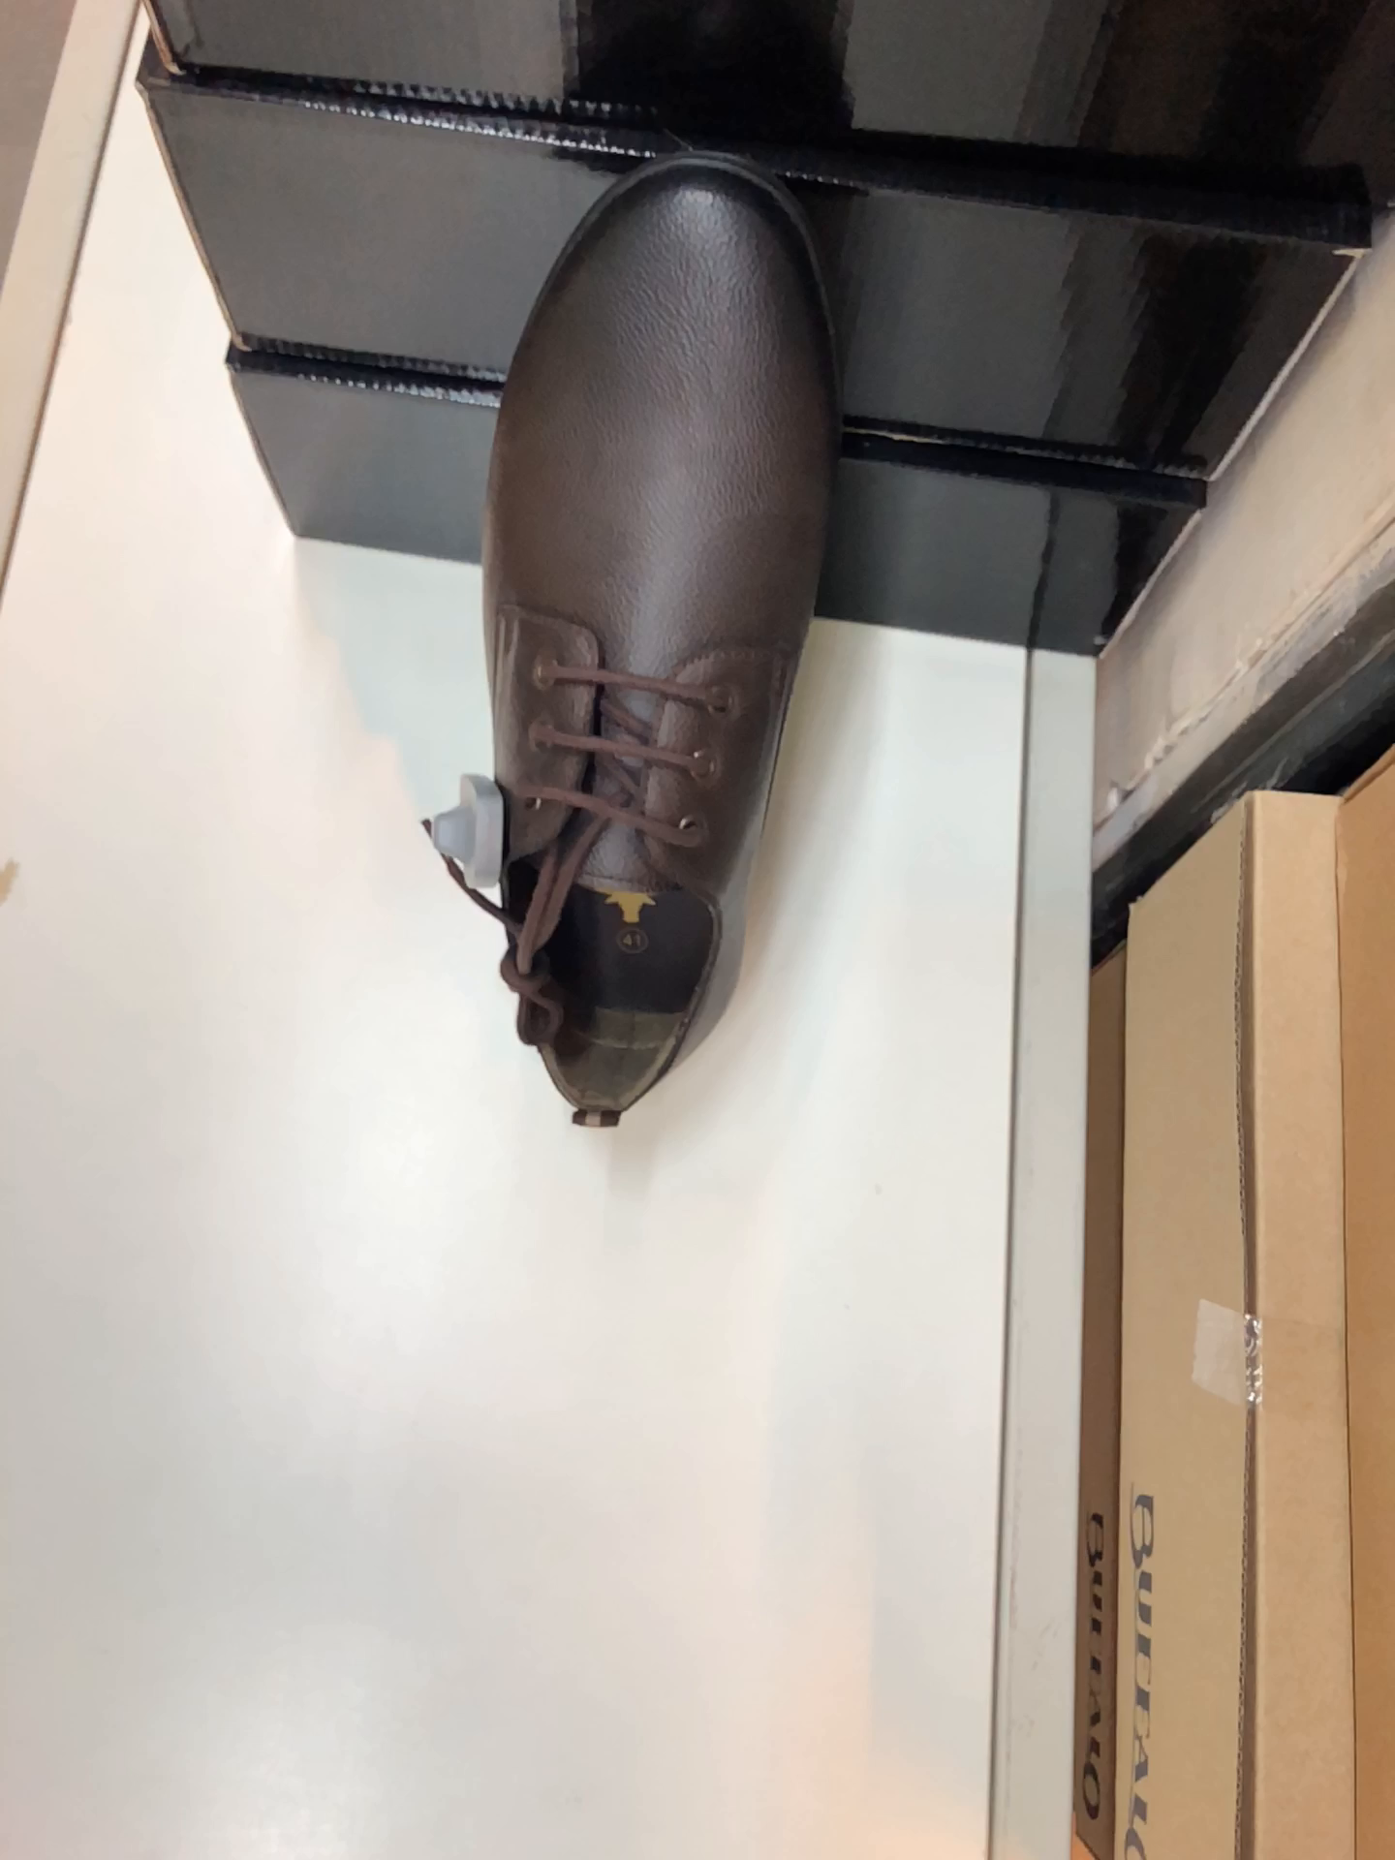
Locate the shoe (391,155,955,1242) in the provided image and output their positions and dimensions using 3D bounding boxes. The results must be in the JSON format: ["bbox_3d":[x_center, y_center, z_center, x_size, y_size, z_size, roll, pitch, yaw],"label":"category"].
[{"bbox_3d":[-0.011,-0.063,0.445,0.111,0.270,0.116,11,29,6],"label":"shoe"}]
